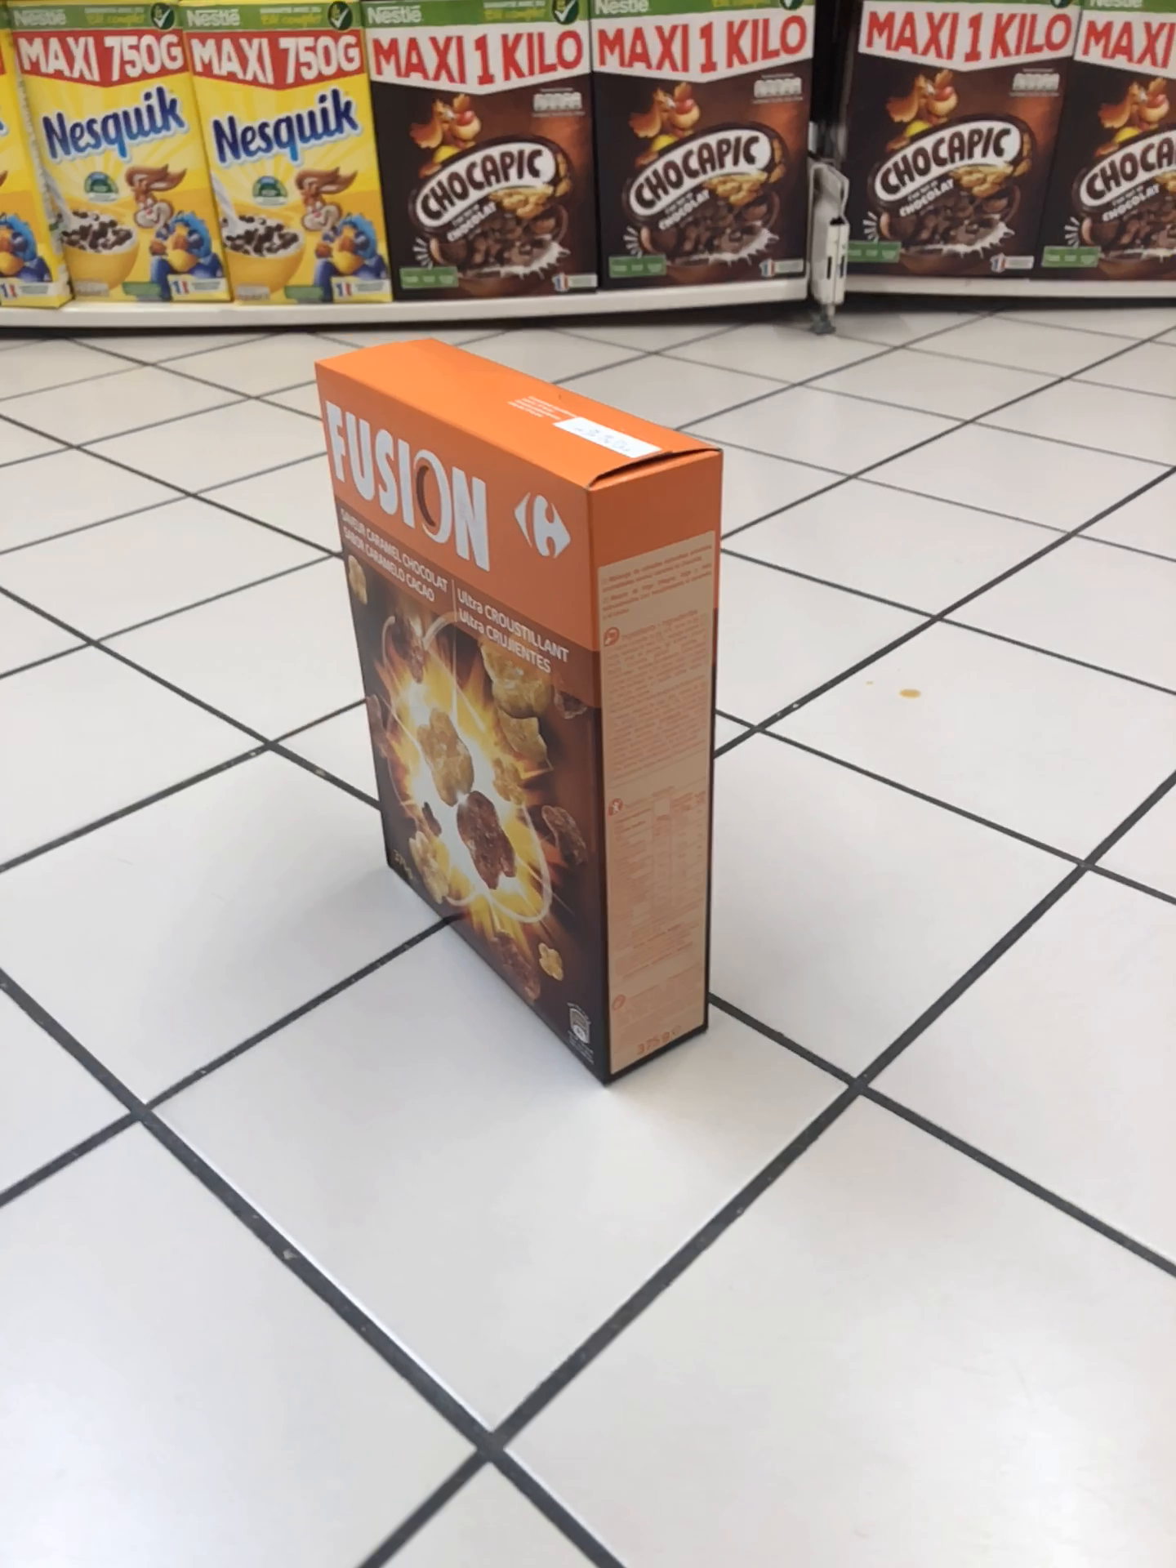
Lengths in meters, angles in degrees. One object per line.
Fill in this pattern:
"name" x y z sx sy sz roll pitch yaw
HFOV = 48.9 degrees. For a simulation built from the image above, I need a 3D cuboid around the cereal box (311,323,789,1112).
"cereal box" -0.019 -0.033 0.519 0.070 0.249 0.200 -22 37 -28
